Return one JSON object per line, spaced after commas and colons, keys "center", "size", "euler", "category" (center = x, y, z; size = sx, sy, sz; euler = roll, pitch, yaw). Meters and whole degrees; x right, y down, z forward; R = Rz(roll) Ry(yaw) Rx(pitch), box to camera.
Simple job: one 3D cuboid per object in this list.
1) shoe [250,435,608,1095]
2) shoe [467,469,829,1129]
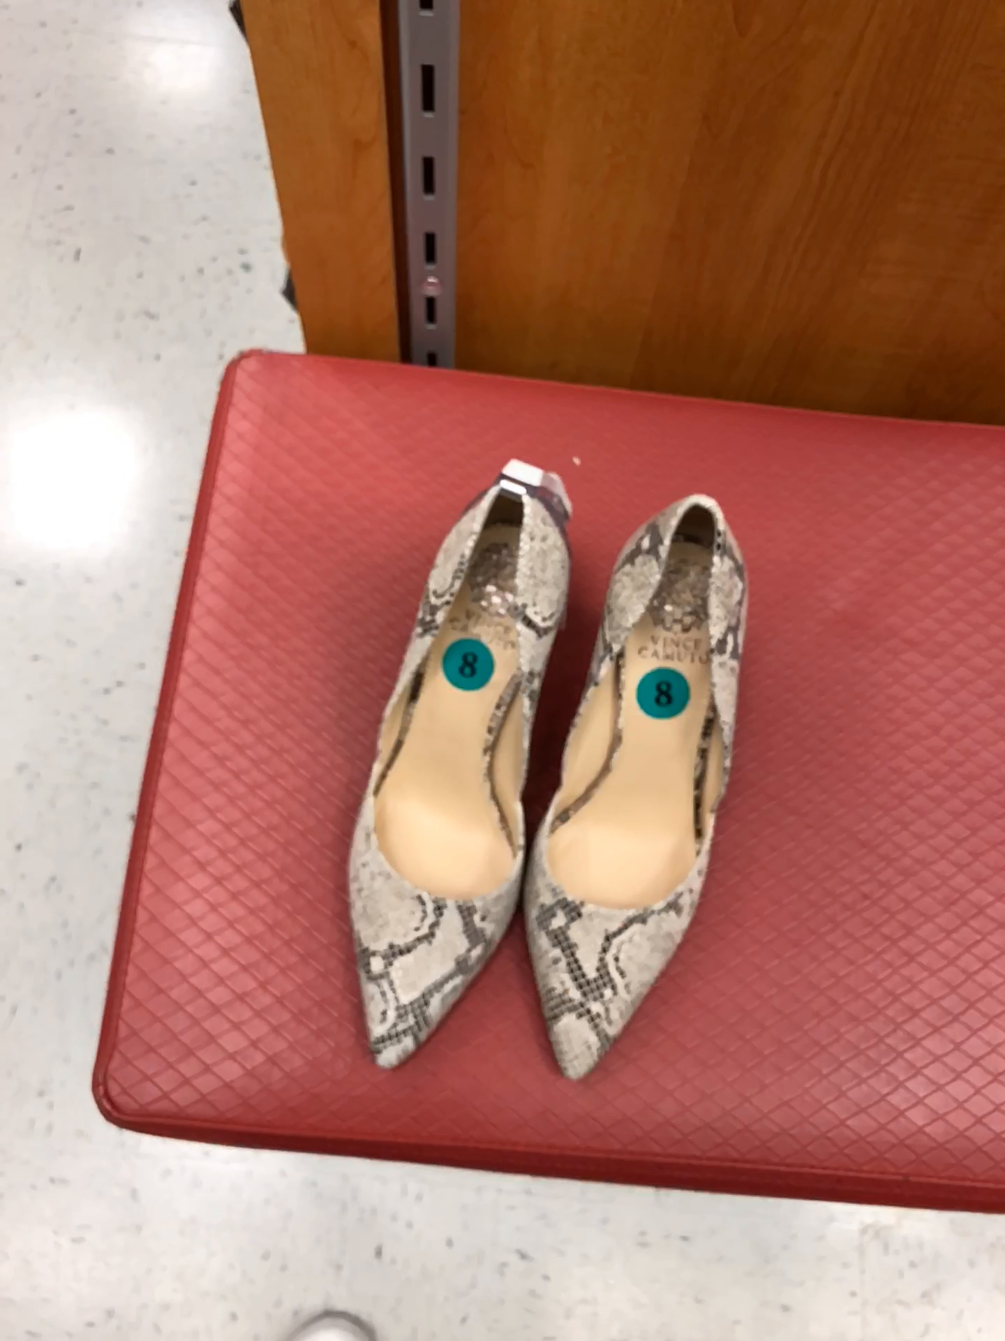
{"center": [-0.026, 0.044, 0.505], "size": [0.092, 0.112, 0.262], "euler": [11, 70, 1], "category": "shoe"}
{"center": [0.065, 0.056, 0.505], "size": [0.093, 0.102, 0.259], "euler": [15, 70, 2], "category": "shoe"}
